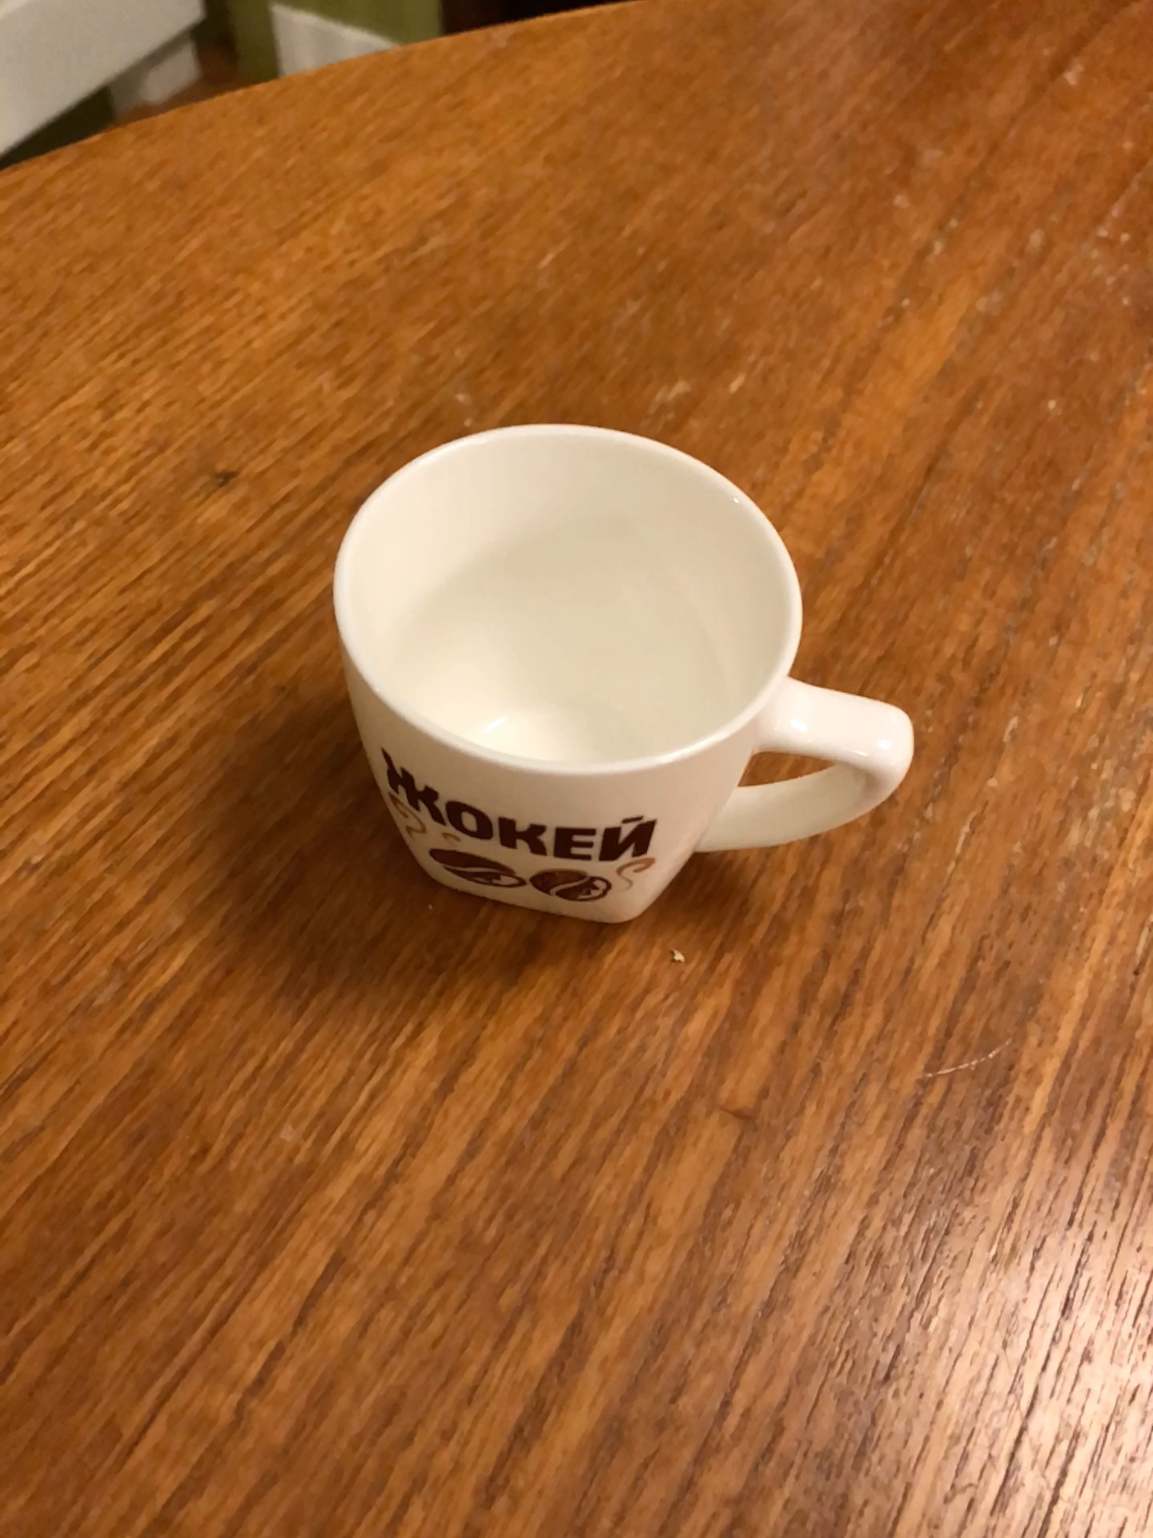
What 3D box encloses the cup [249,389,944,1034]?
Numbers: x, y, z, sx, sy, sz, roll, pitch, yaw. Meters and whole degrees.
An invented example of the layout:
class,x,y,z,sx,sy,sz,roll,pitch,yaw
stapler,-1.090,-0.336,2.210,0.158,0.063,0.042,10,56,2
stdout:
class,x,y,z,sx,sy,sz,roll,pitch,yaw
cup,0.005,-0.008,0.182,0.075,0.047,0.060,13,57,7
